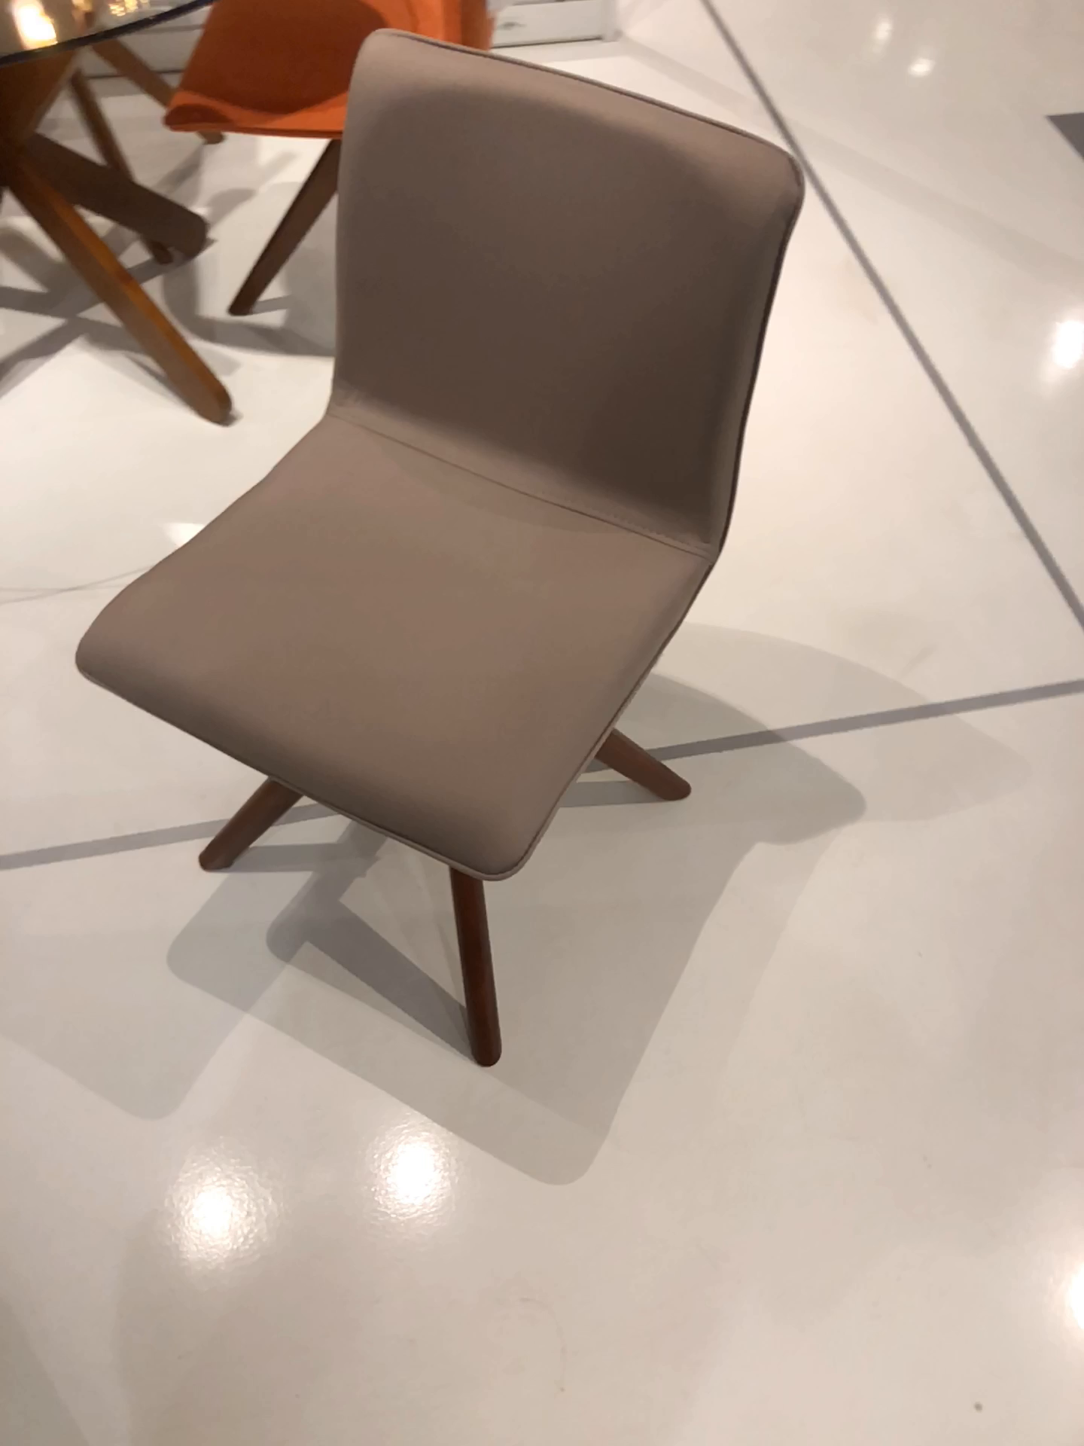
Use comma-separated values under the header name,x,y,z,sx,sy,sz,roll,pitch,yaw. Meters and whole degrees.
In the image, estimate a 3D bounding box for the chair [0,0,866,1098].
name,x,y,z,sx,sy,sz,roll,pitch,yaw
chair,-0.115,-0.126,1.130,0.501,0.805,0.512,26,57,17
